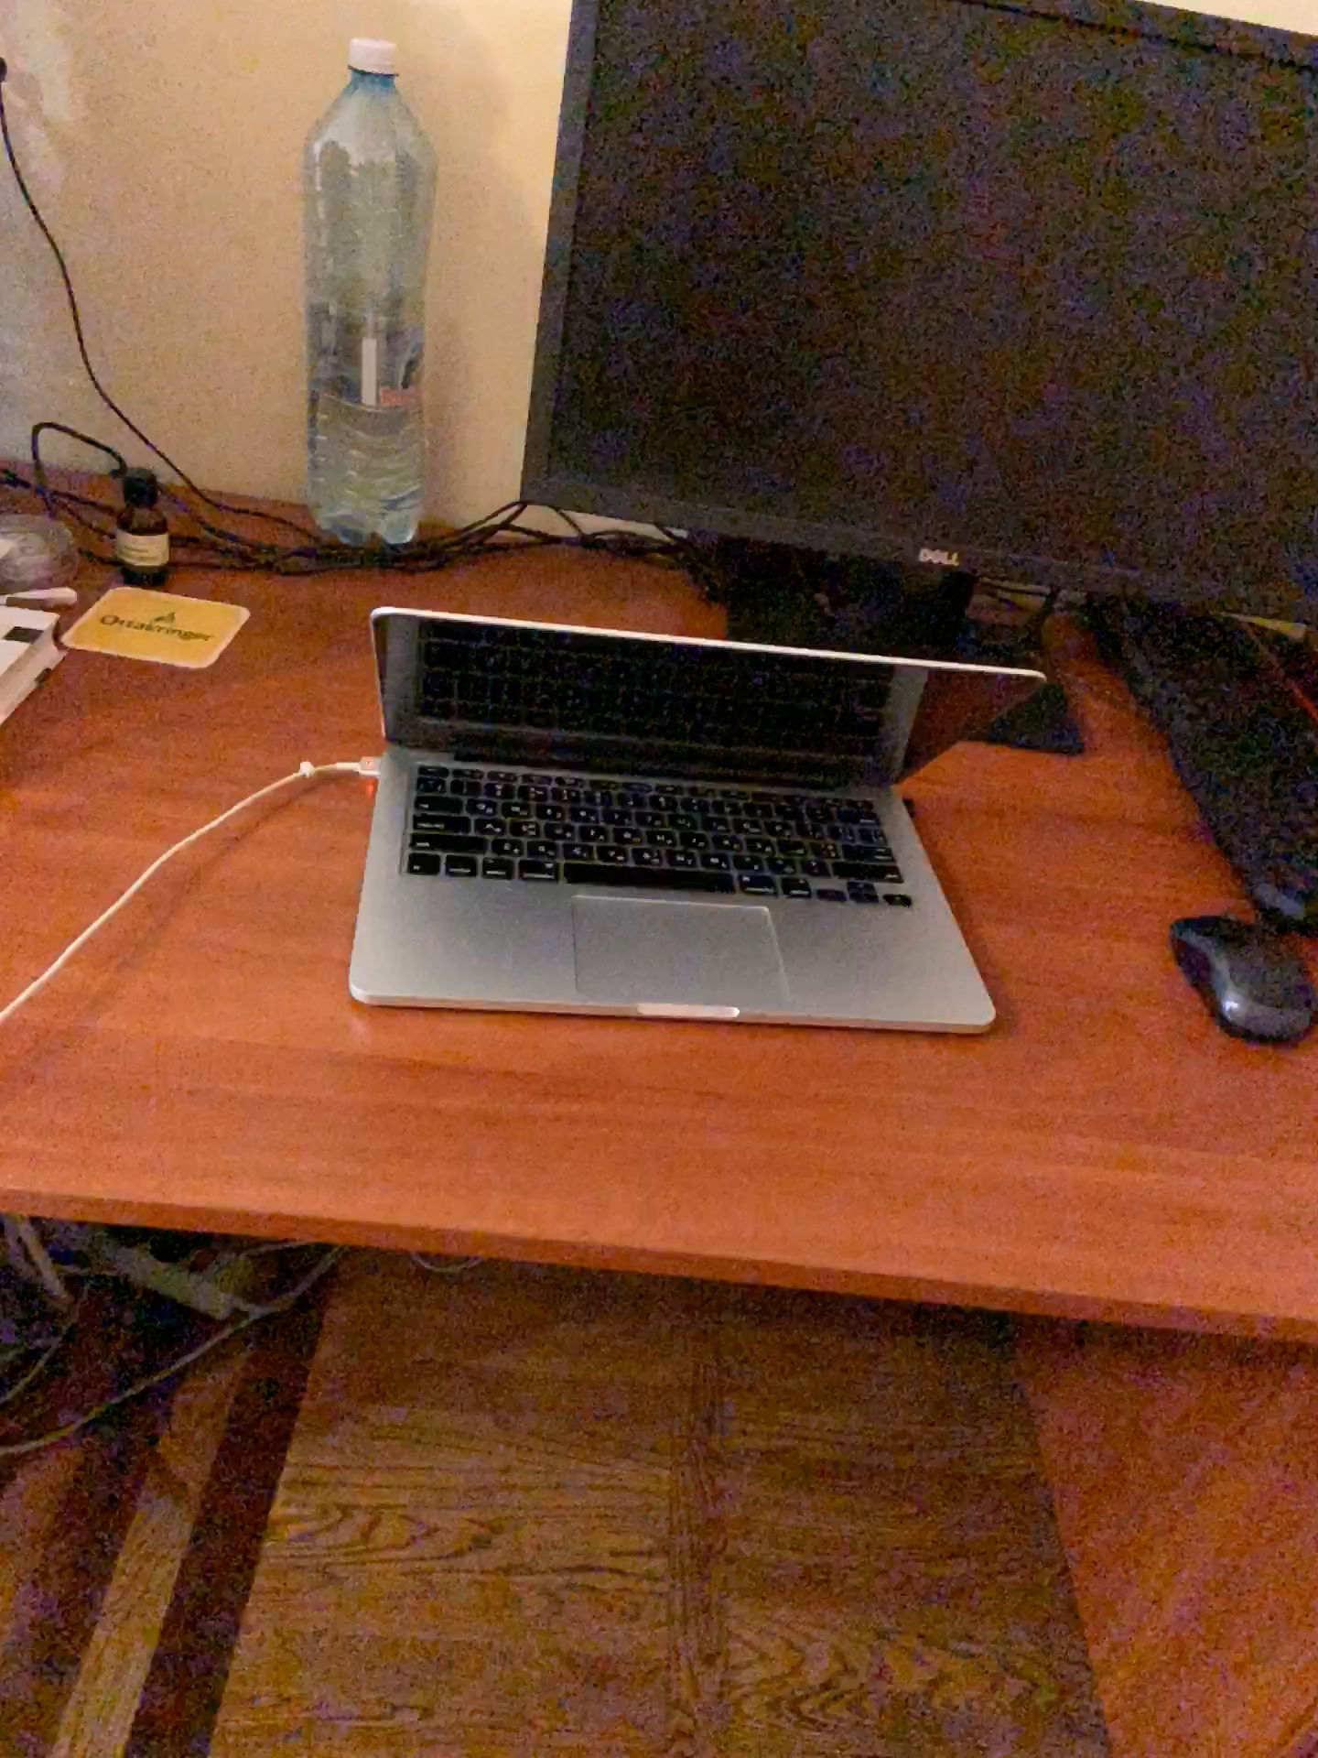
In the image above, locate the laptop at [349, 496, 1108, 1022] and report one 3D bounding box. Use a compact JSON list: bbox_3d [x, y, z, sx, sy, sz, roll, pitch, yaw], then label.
[{"bbox_3d":[0.016,-0.062,0.656,0.306,0.148,0.205,4,36,-10],"label":"laptop"}]
